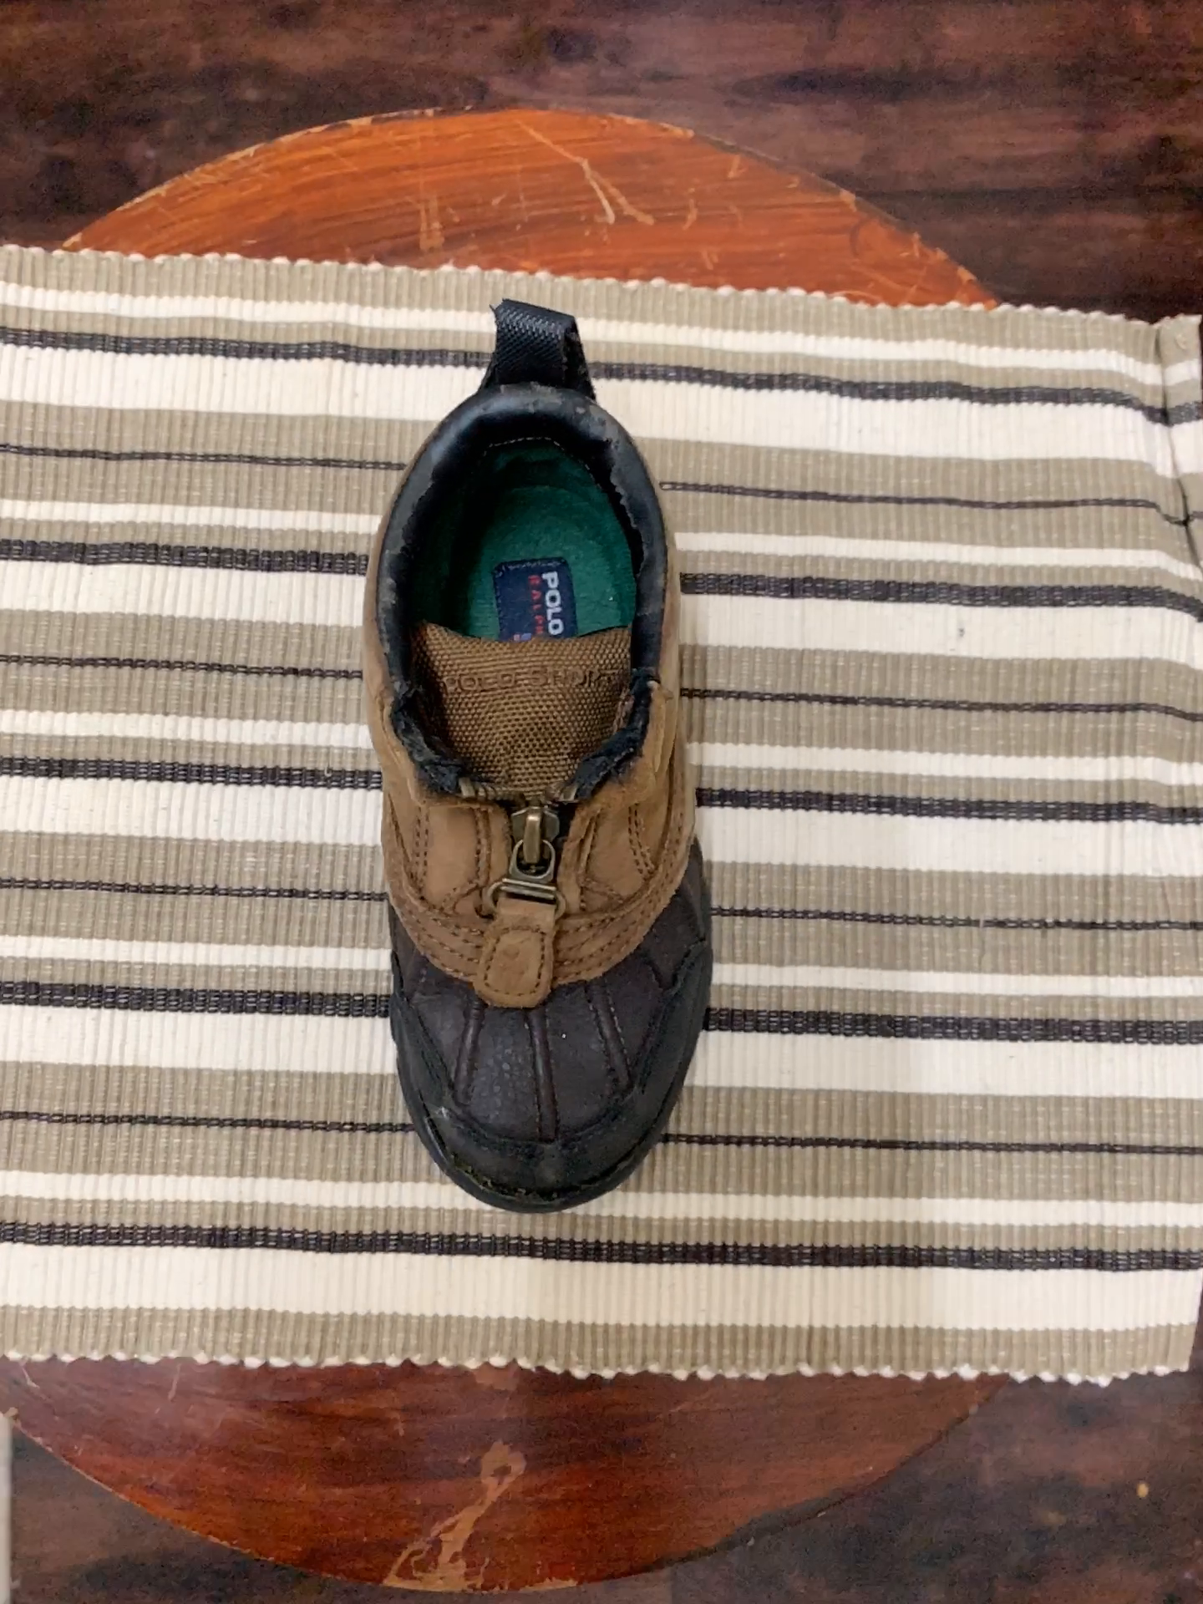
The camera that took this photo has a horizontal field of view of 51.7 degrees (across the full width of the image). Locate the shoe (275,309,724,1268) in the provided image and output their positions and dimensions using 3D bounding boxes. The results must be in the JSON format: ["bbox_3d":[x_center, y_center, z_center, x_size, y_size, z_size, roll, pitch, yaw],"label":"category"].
[{"bbox_3d":[-0.020,-0.002,0.277,0.080,0.090,0.180,0,83,-2],"label":"shoe"}]
